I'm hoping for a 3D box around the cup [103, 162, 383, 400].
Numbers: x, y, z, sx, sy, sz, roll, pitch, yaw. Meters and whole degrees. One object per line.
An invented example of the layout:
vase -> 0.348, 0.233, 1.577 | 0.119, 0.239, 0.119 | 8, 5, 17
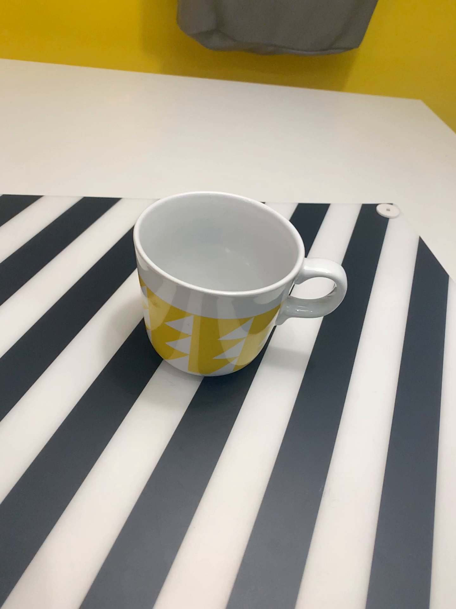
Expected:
cup -> 0.005, -0.012, 0.232 | 0.110, 0.070, 0.070 | 10, 43, 0
